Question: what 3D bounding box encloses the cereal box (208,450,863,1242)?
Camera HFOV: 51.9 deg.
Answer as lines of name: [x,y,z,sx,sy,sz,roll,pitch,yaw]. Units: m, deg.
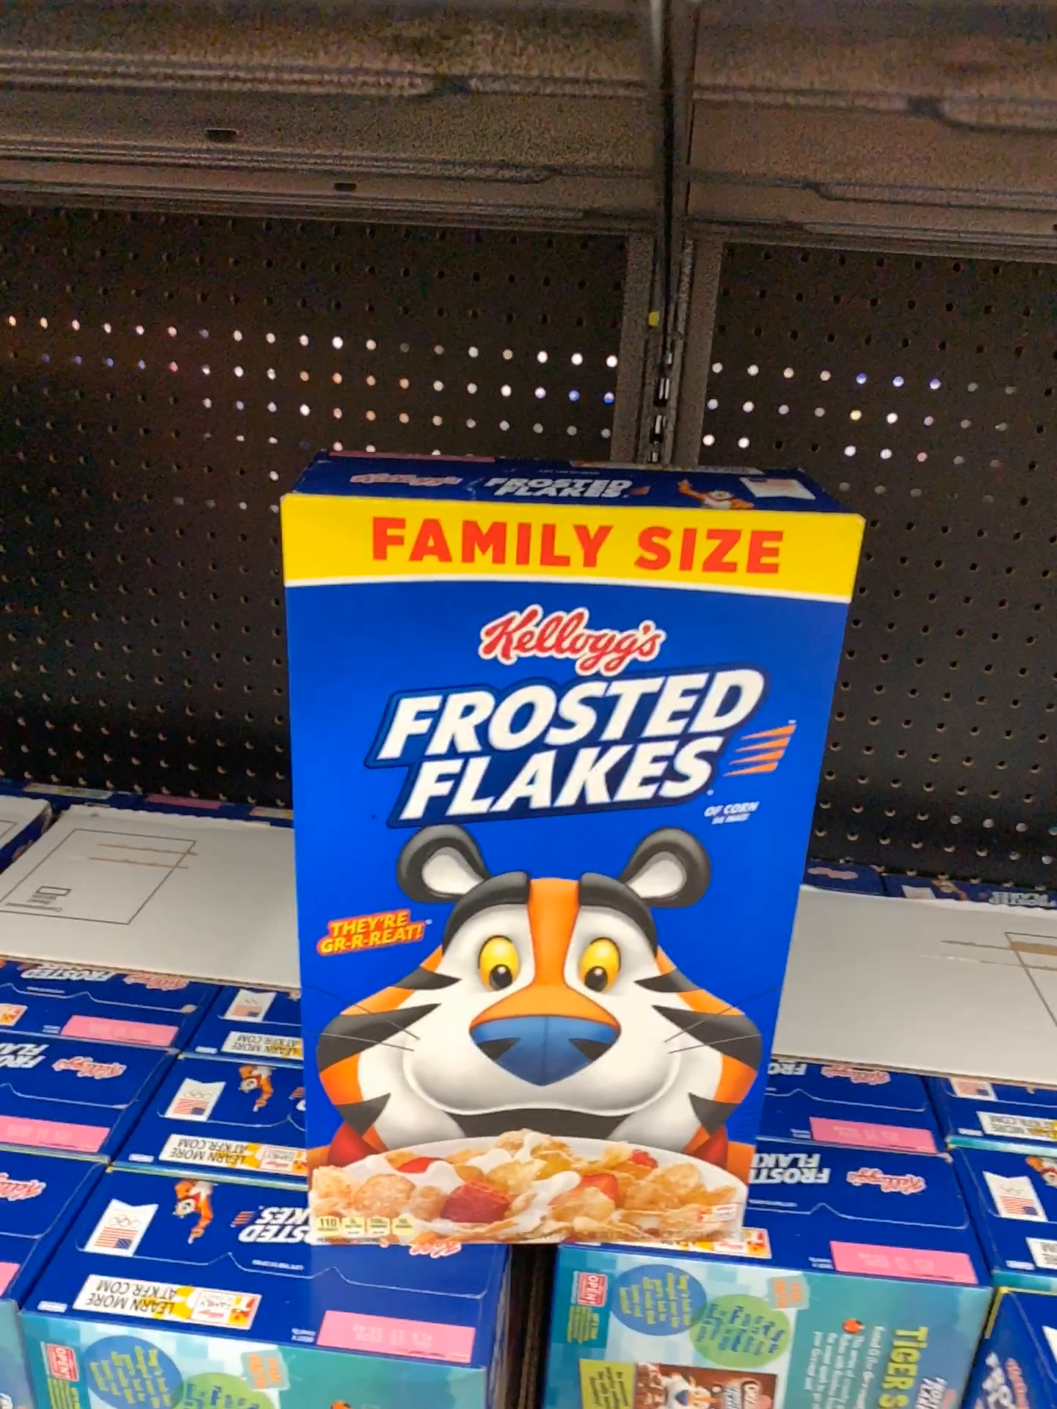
cereal box: [-0.006,0.069,0.447,0.210,0.319,0.080,2,23,-2]
